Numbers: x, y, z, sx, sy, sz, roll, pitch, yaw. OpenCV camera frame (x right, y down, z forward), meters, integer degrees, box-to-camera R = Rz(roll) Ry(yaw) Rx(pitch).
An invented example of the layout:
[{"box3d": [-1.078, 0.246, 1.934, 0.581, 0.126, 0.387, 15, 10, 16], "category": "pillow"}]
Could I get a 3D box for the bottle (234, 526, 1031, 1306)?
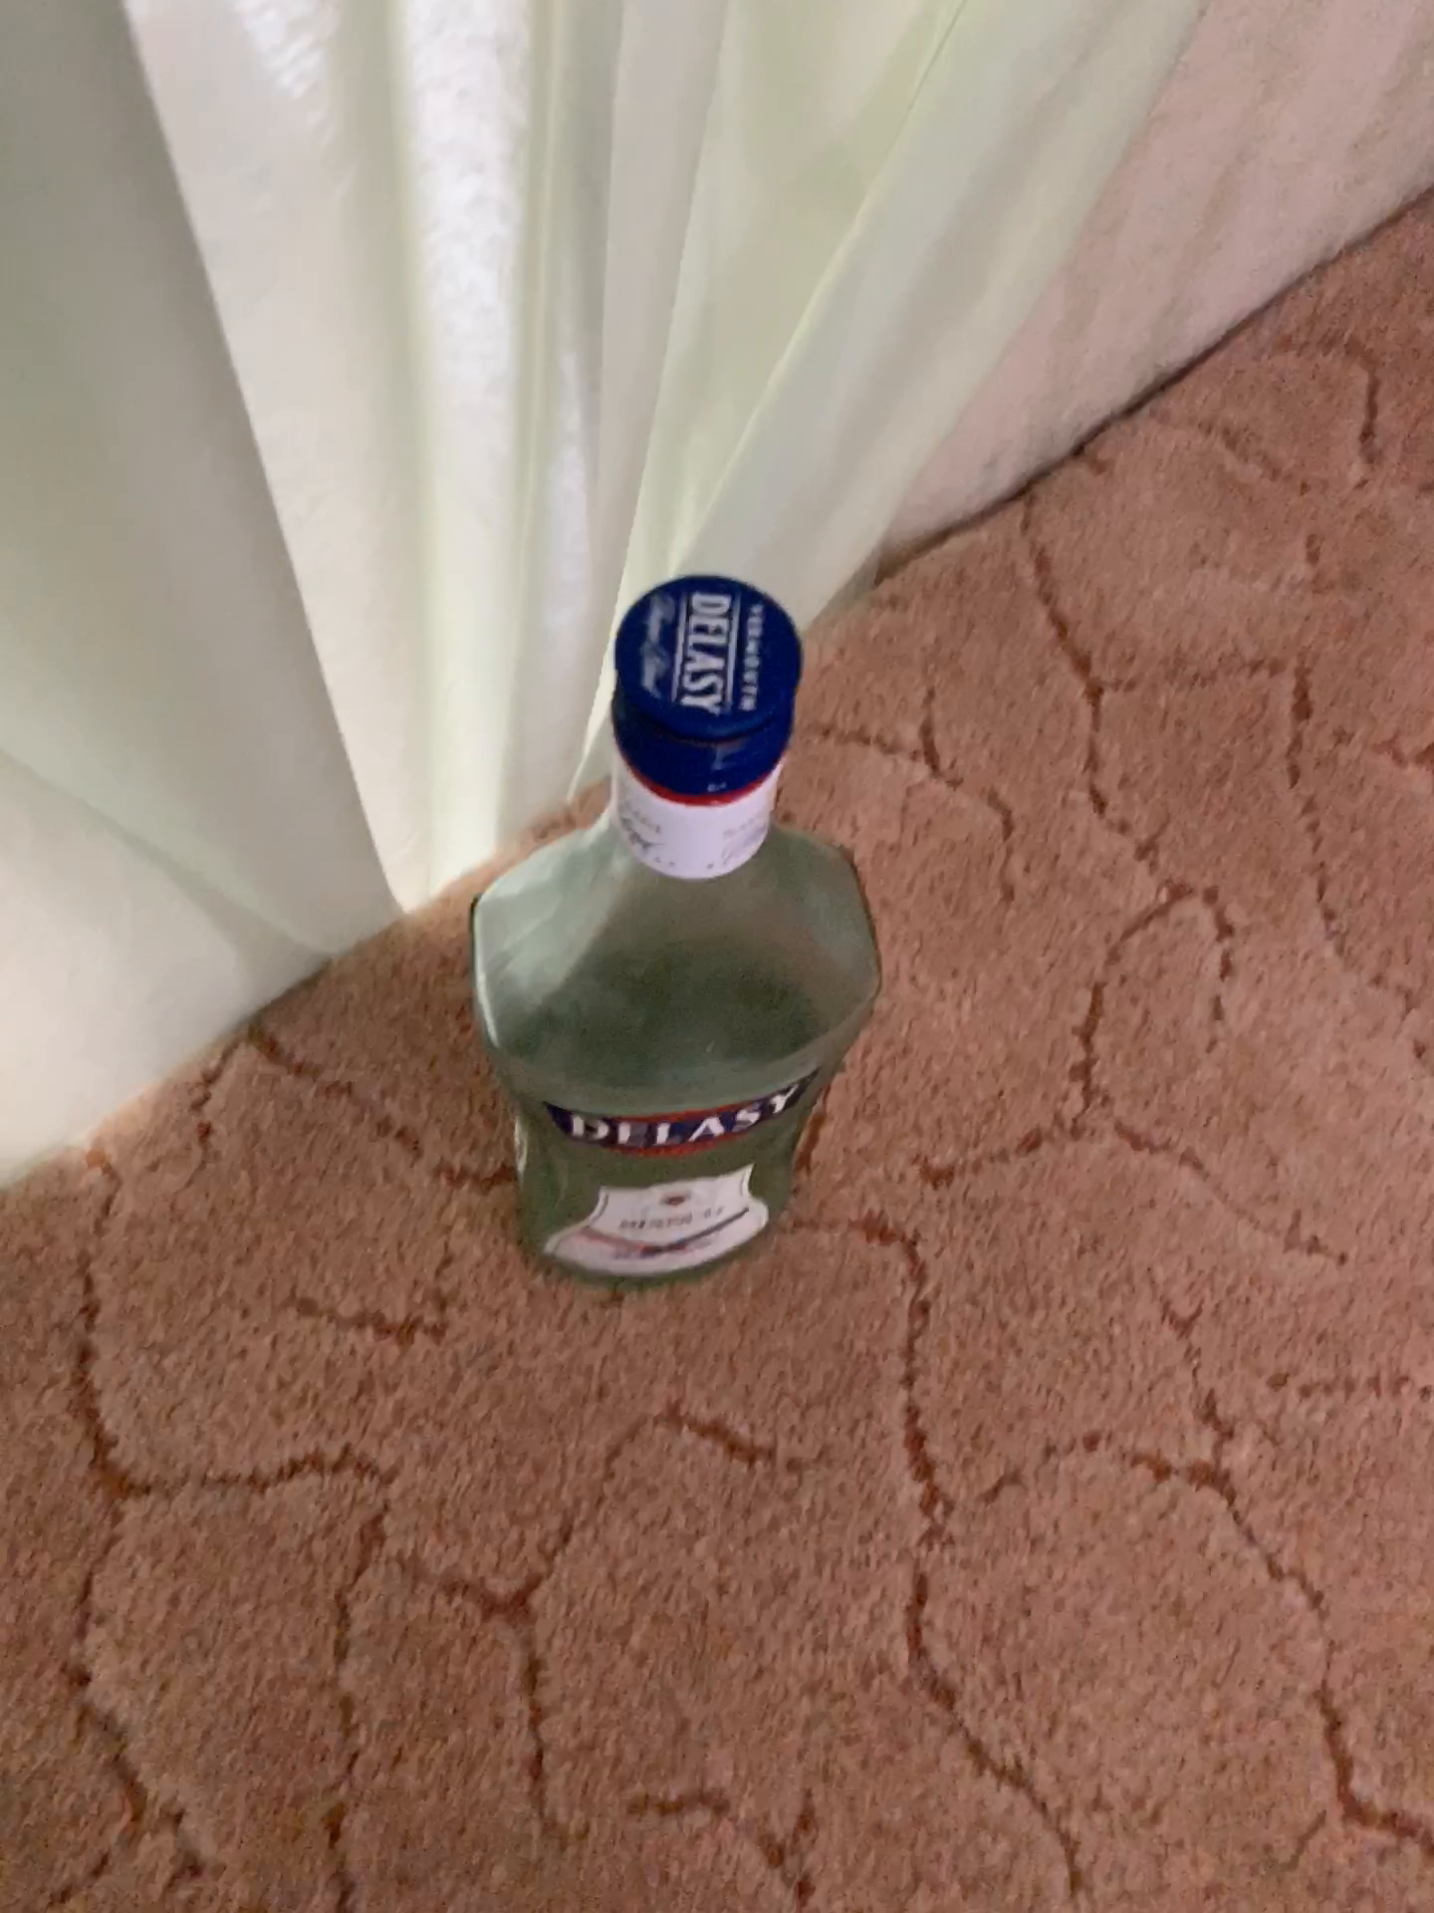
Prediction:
[{"box3d": [-0.019, 0.026, 0.366, 0.110, 0.328, 0.060, -4, 68, -4], "category": "bottle"}]
